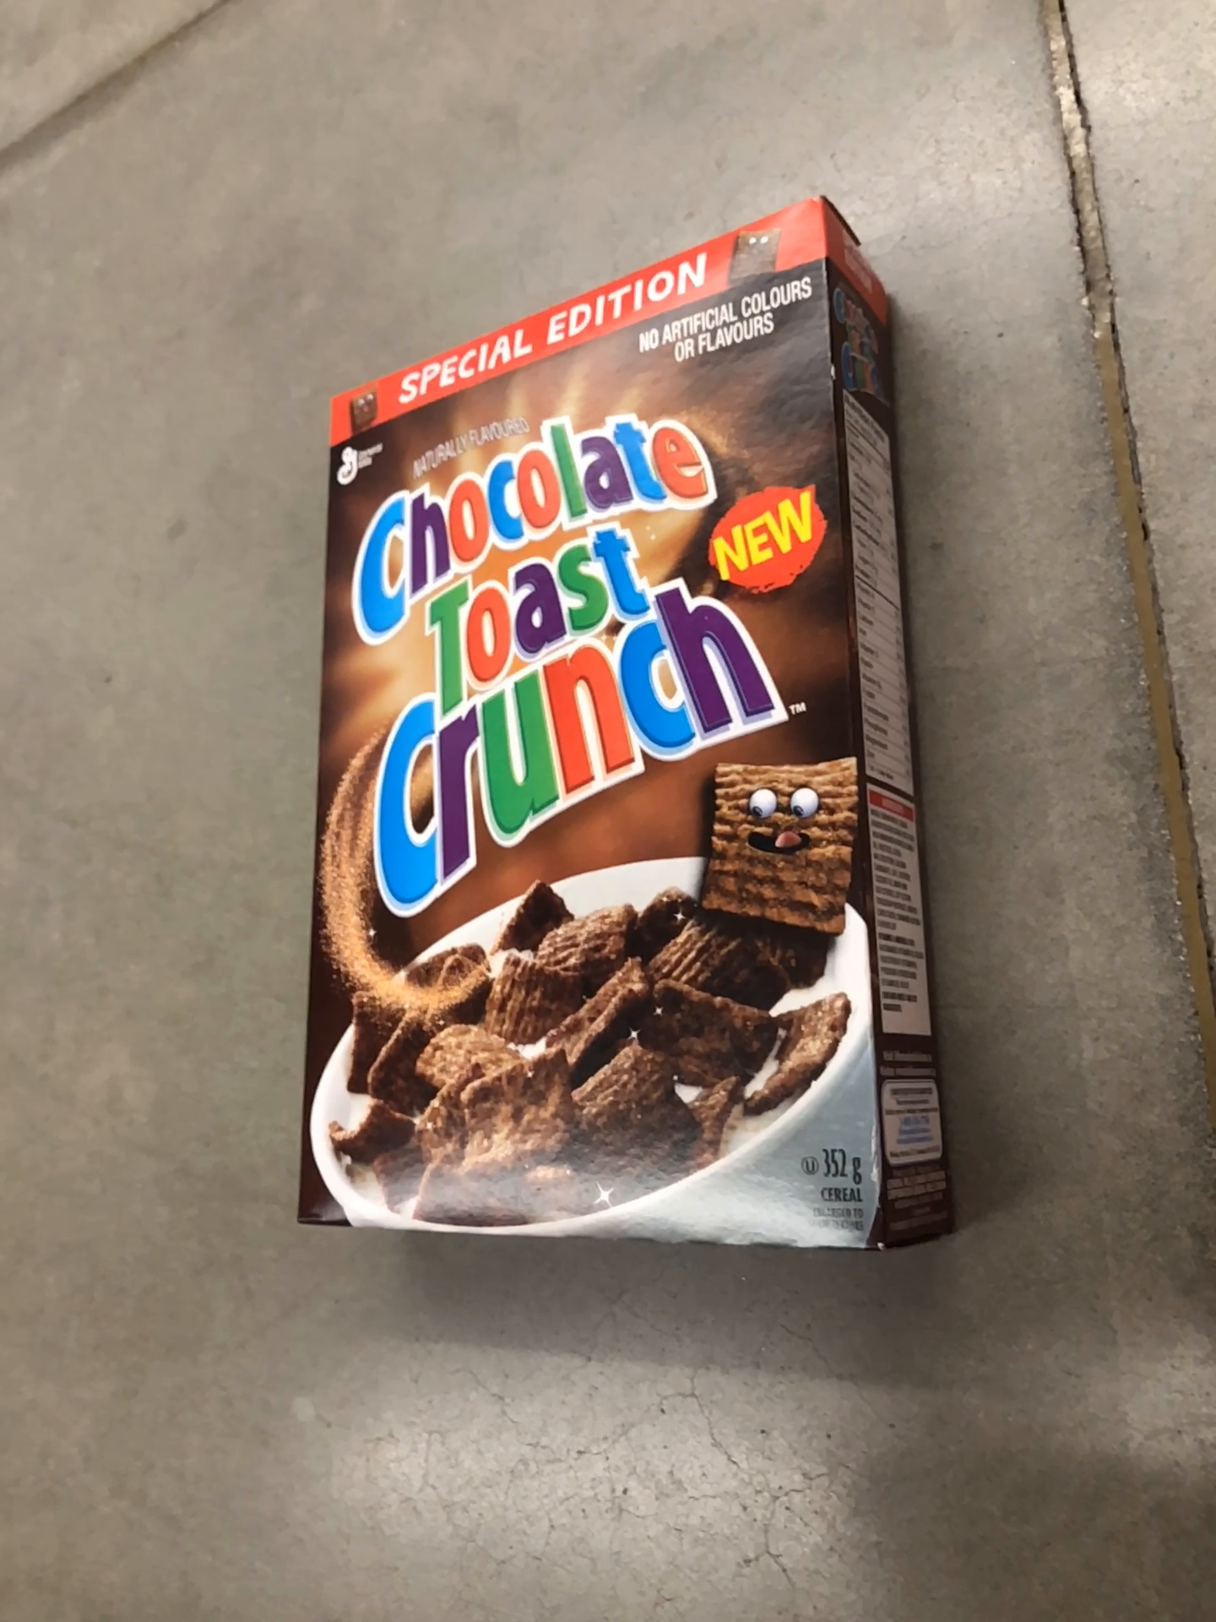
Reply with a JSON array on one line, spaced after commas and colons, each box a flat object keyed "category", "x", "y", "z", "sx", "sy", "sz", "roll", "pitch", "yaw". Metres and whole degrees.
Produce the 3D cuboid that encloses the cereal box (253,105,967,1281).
[{"category": "cereal box", "x": -0.003, "y": -0.027, "z": 0.413, "sx": 0.191, "sy": 0.070, "sz": 0.310, "roll": -9, "pitch": 72, "yaw": 32}]
